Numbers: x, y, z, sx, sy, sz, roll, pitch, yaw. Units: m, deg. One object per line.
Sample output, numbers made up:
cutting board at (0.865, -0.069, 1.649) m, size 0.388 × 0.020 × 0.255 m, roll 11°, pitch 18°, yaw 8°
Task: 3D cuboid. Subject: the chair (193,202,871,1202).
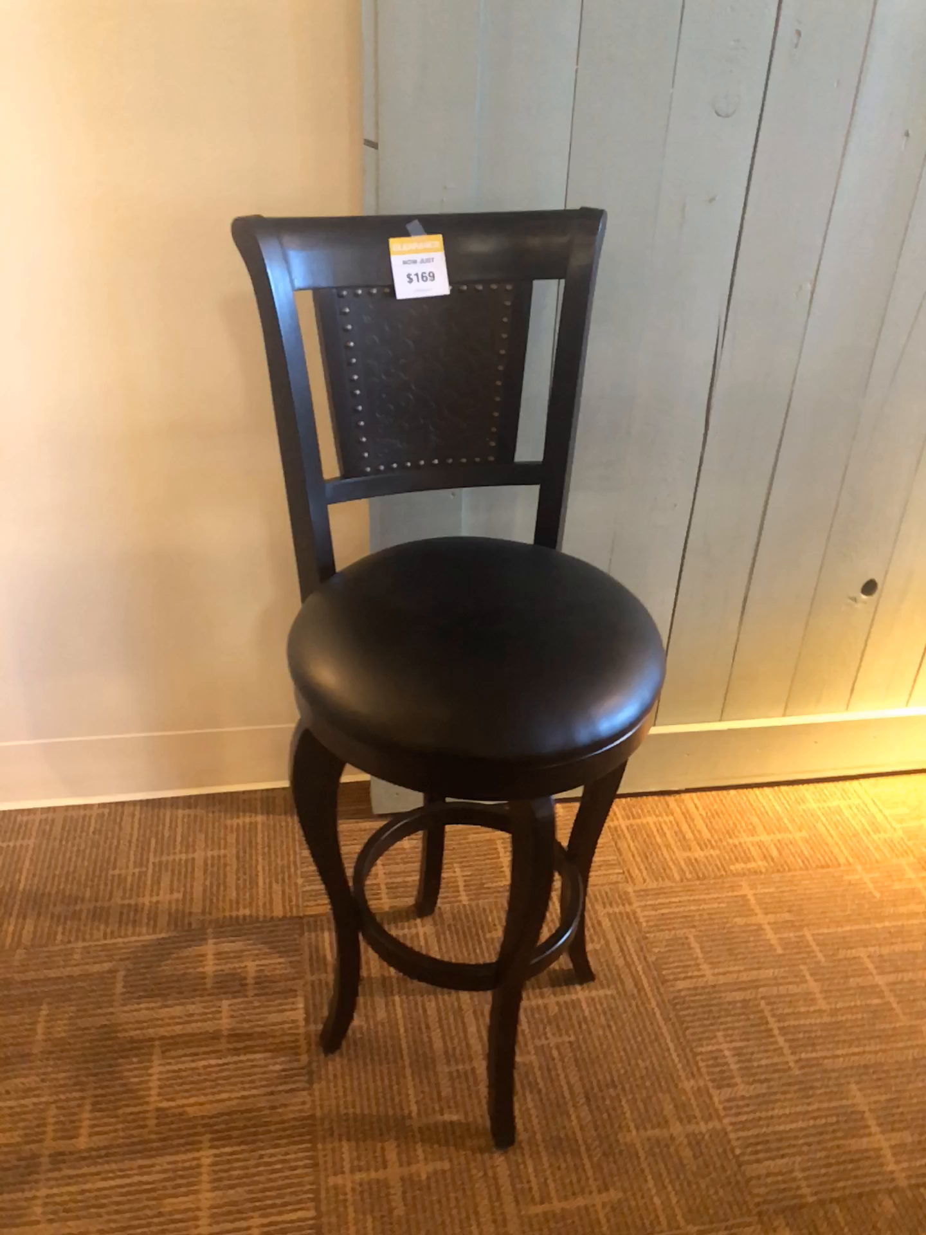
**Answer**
chair at (-0.013, 0.105, 1.380) m, size 0.561 × 1.150 × 0.612 m, roll -6°, pitch 32°, yaw -14°
